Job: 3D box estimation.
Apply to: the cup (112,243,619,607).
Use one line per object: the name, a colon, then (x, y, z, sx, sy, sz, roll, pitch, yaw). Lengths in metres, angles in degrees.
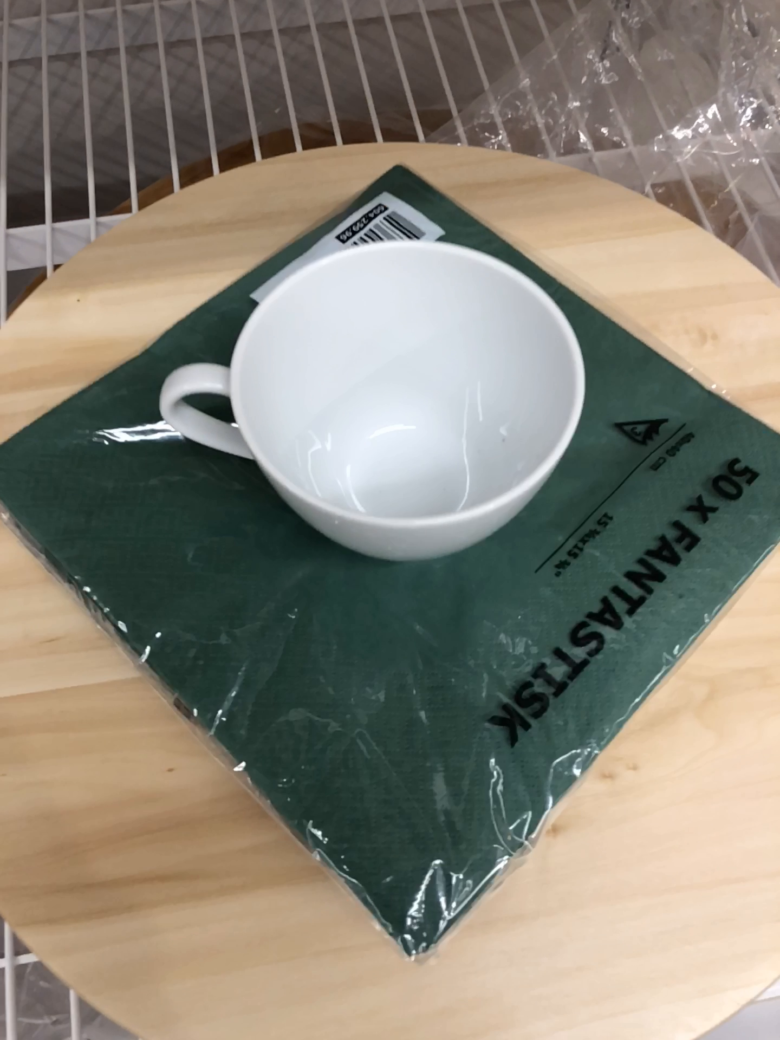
cup: (-0.006, -0.026, 0.248, 0.120, 0.050, 0.090, 0, 64, 0)
